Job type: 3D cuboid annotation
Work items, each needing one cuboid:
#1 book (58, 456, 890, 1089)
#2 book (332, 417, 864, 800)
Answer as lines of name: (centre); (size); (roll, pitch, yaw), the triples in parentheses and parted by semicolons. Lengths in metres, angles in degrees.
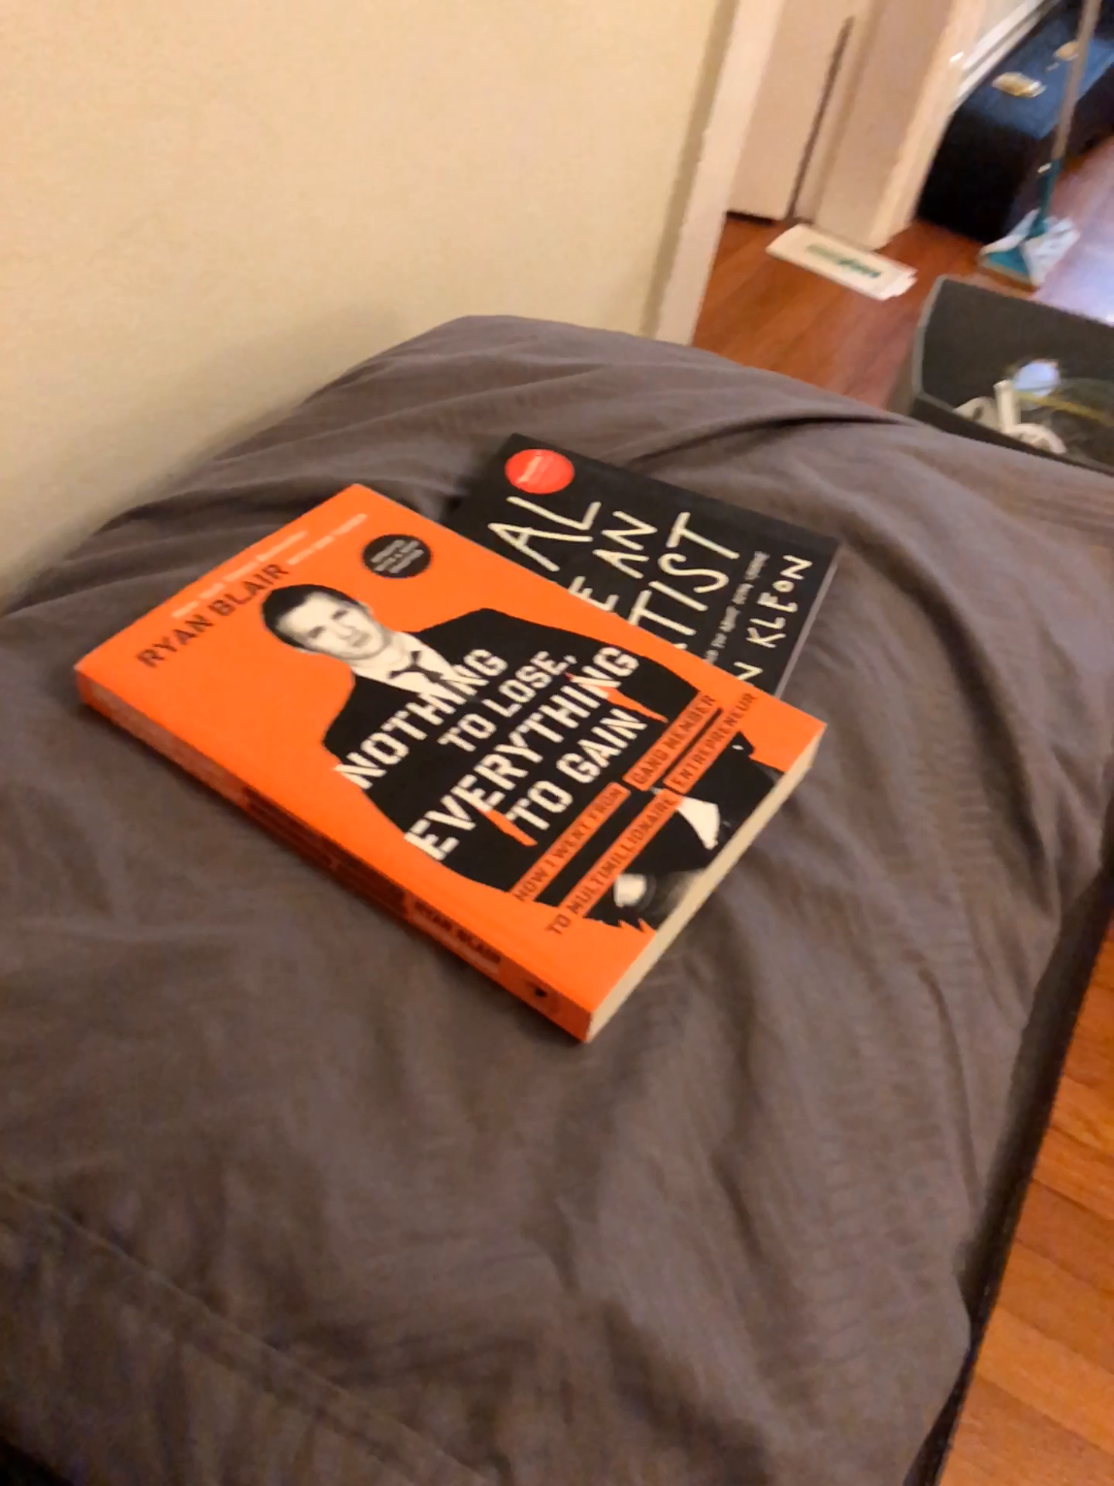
book: (-0.024, -0.011, 0.427); (0.230, 0.020, 0.171); (30, 48, 18)
book: (0.023, -0.063, 0.488); (0.170, 0.020, 0.151); (19, 46, 10)
